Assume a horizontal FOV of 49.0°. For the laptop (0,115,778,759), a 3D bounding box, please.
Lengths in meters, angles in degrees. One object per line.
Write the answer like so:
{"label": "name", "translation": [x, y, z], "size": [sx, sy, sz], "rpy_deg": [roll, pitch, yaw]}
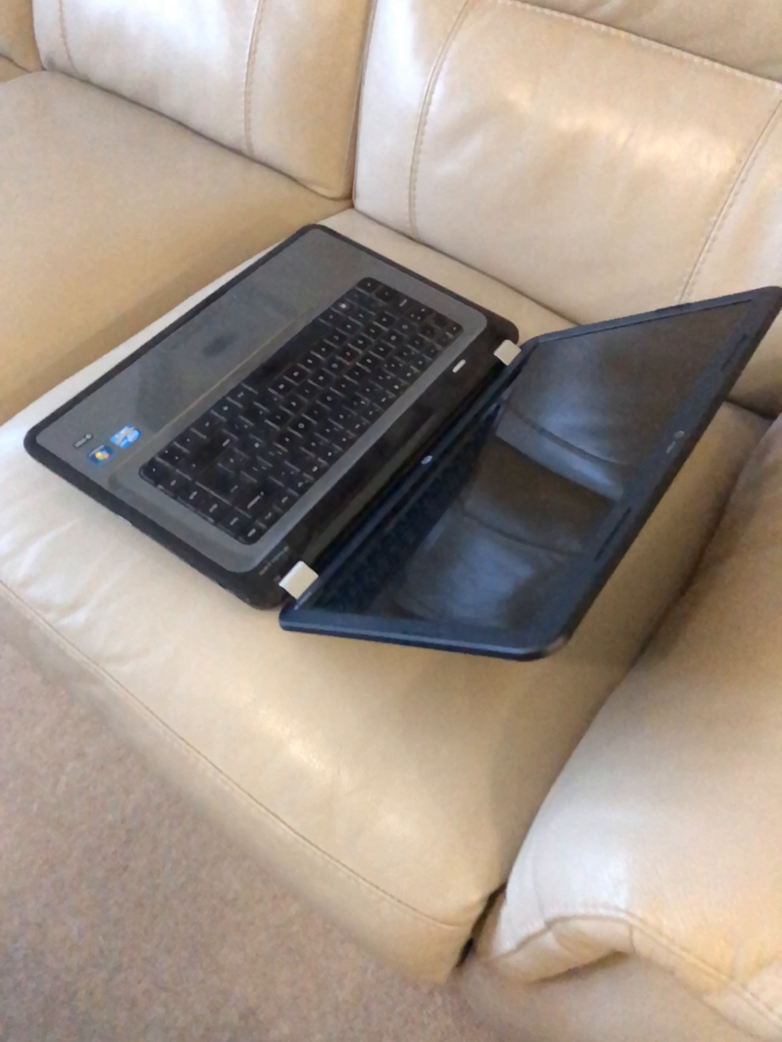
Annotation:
{"label": "laptop", "translation": [0.001, -0.103, 0.638], "size": [0.424, 0.115, 0.359], "rpy_deg": [29, 59, 18]}
